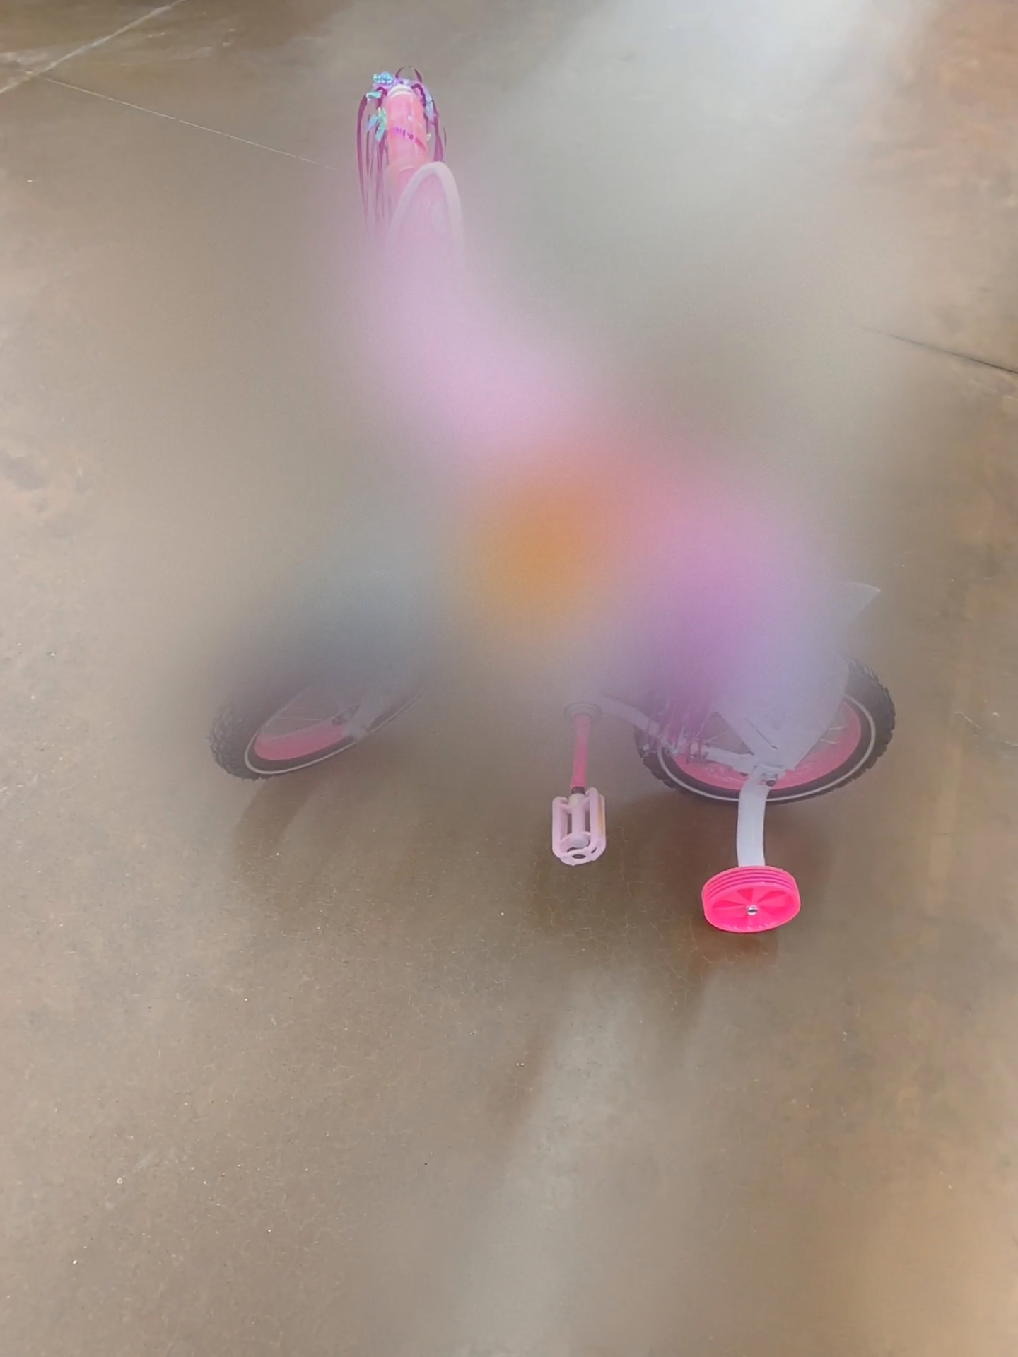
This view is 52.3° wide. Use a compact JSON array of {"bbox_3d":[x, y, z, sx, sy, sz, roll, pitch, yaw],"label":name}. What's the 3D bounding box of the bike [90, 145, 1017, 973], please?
[{"bbox_3d":[0.072,-0.073,1.048,0.776,0.707,0.429,-1,50,-4],"label":"bike"}]
